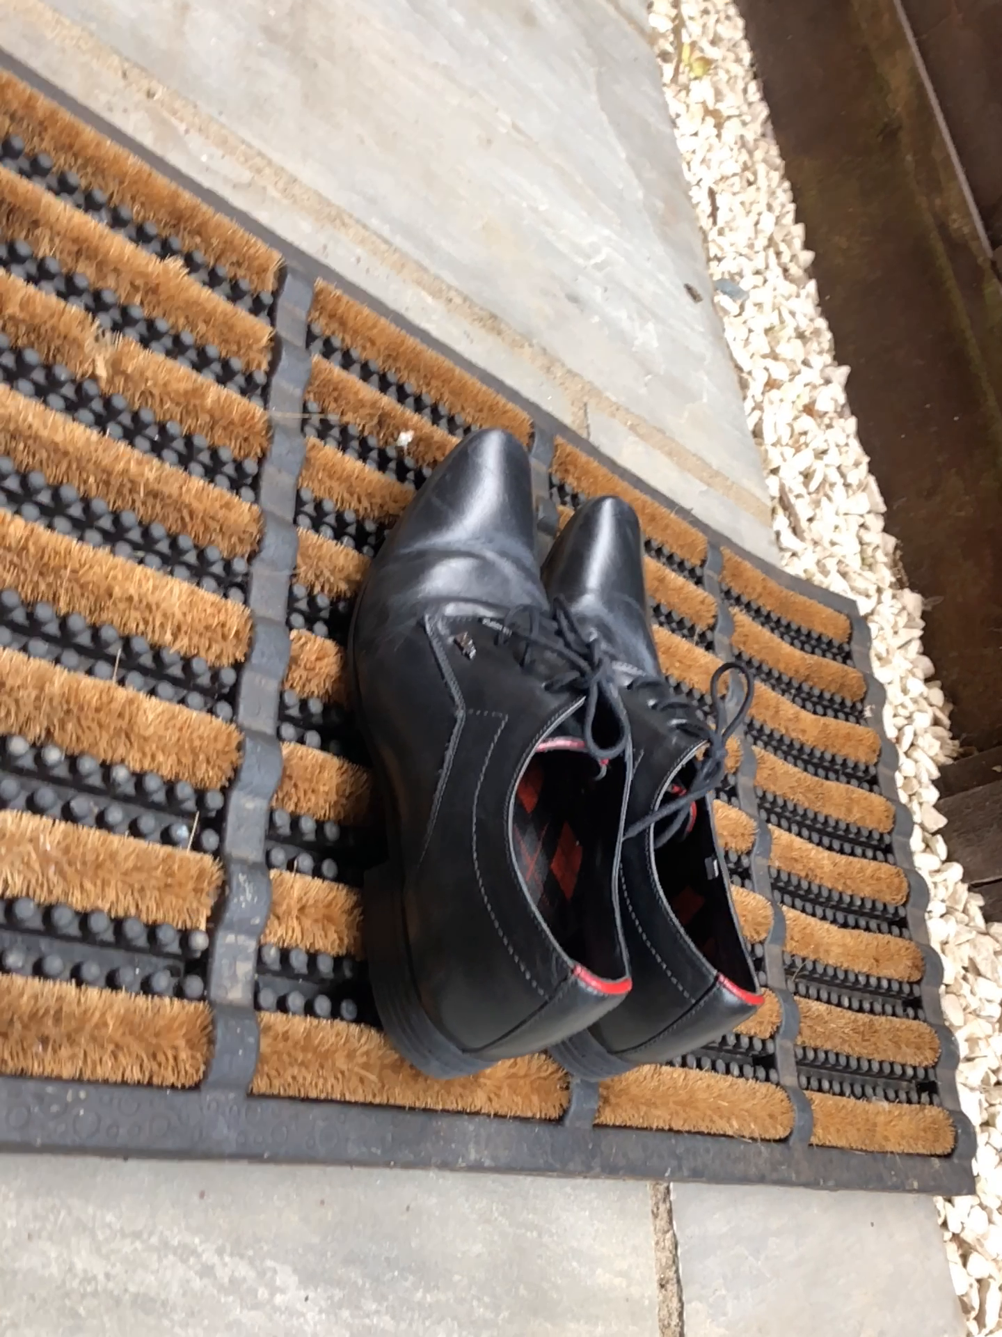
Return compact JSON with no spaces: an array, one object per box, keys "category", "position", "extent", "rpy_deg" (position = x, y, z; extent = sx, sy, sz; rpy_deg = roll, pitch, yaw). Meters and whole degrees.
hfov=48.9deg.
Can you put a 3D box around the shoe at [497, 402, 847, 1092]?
[{"category":"shoe","position":[0.071,0.034,0.532],"extent":[0.100,0.099,0.301],"rpy_deg":[26,51,-38]}]

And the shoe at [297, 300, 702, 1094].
[{"category":"shoe","position":[-0.002,0.007,0.460],"extent":[0.100,0.099,0.301],"rpy_deg":[26,51,-38]}]
